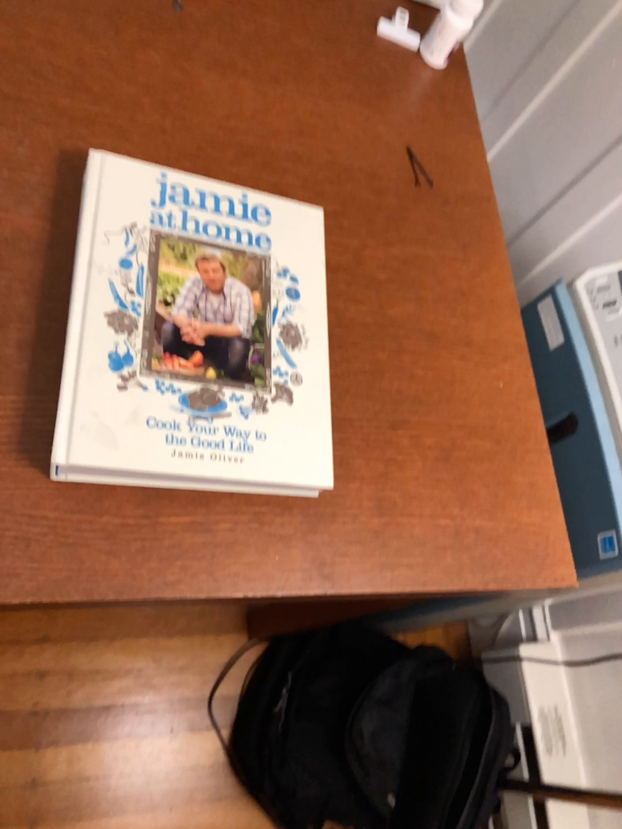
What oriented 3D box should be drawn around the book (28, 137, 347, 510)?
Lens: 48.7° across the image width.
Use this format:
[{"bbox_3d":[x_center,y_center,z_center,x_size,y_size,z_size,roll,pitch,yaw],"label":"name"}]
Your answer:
[{"bbox_3d":[-0.082,-0.068,0.518,0.210,0.040,0.261,8,66,-20],"label":"book"}]
